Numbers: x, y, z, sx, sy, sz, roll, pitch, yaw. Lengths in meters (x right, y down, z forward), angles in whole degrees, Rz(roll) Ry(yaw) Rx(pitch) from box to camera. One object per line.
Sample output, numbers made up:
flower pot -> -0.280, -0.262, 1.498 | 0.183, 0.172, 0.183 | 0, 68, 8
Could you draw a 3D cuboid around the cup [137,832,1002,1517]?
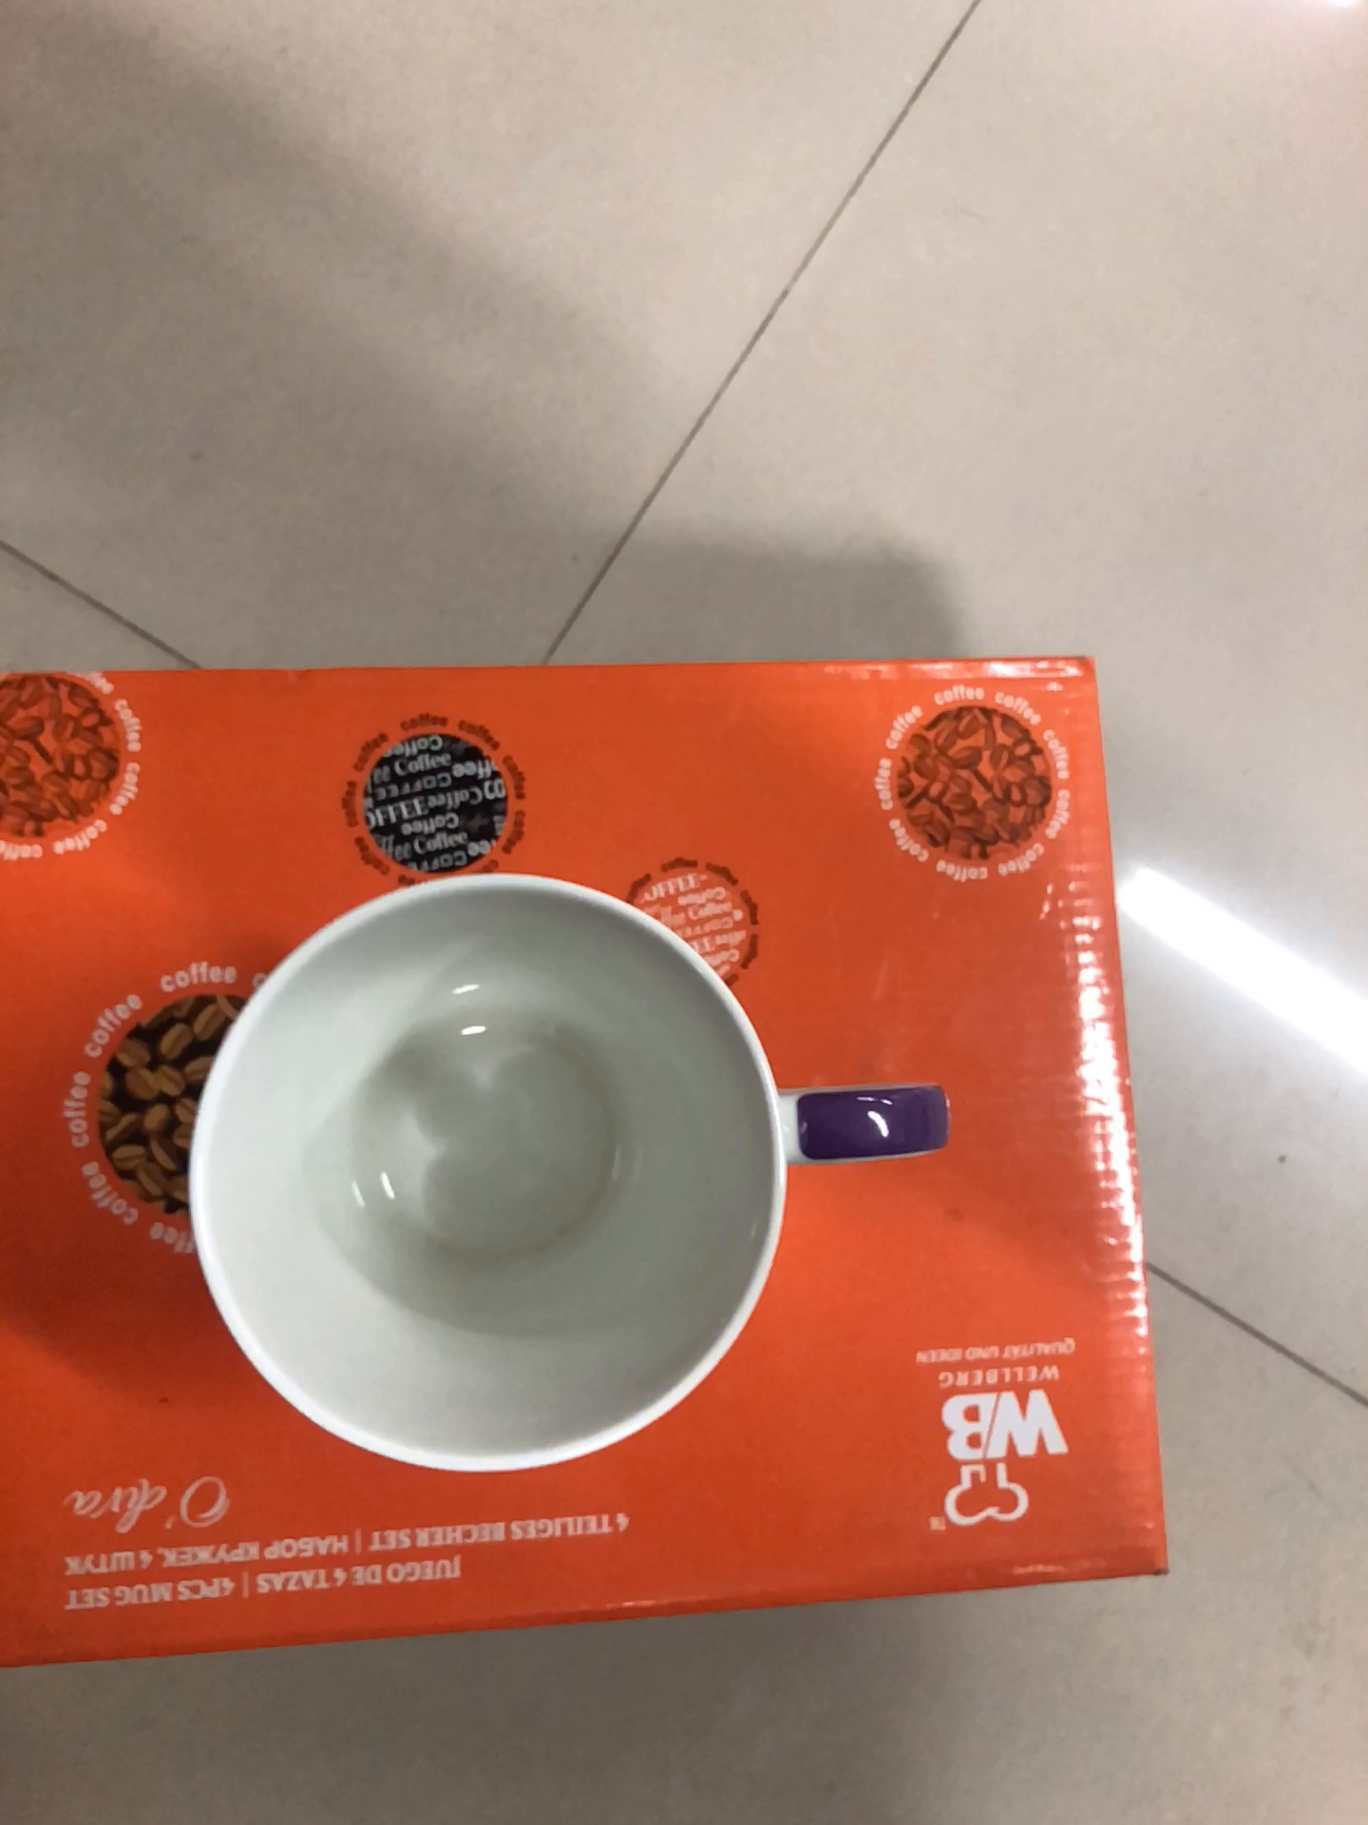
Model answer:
cup -> -0.020, 0.038, 0.258 | 0.110, 0.100, 0.080 | -6, 85, -6
